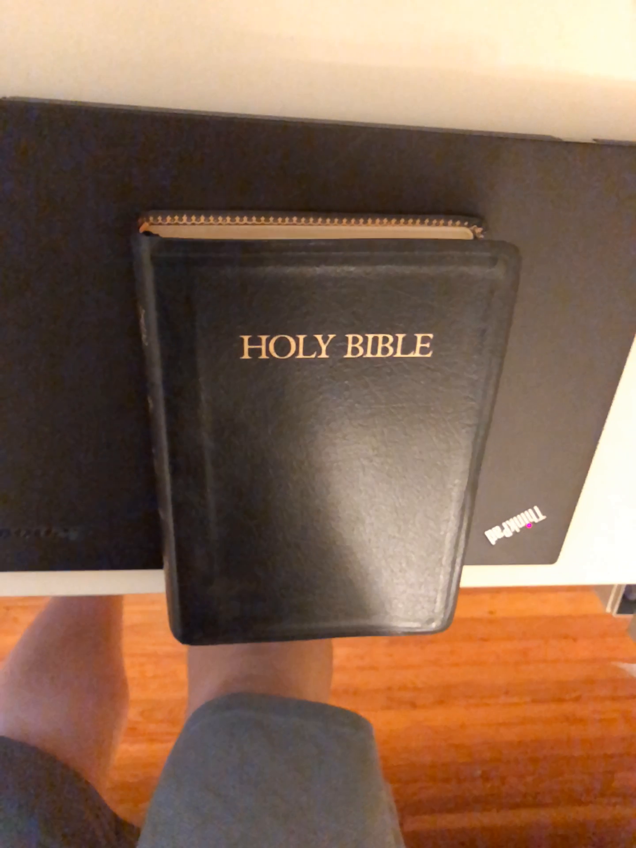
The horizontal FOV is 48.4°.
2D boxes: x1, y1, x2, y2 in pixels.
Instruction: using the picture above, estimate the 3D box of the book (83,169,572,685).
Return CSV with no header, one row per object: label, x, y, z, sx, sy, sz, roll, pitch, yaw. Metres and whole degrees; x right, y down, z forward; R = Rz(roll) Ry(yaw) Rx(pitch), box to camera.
book,-0.001,0.016,0.322,0.170,0.040,0.241,-1,120,-7
